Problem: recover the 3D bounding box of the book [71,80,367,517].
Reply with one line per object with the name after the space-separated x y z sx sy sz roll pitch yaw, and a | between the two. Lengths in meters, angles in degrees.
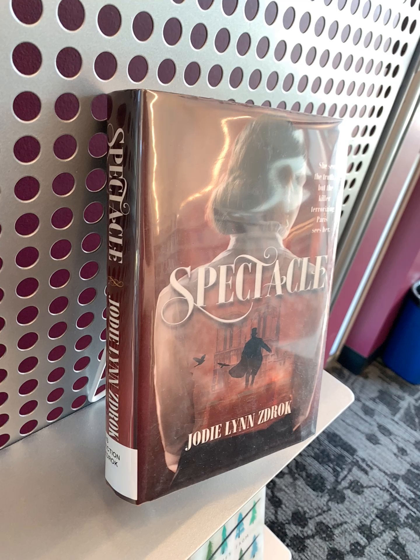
0.006 0.006 0.265 0.154 0.212 0.059 -7 18 -30 | book
